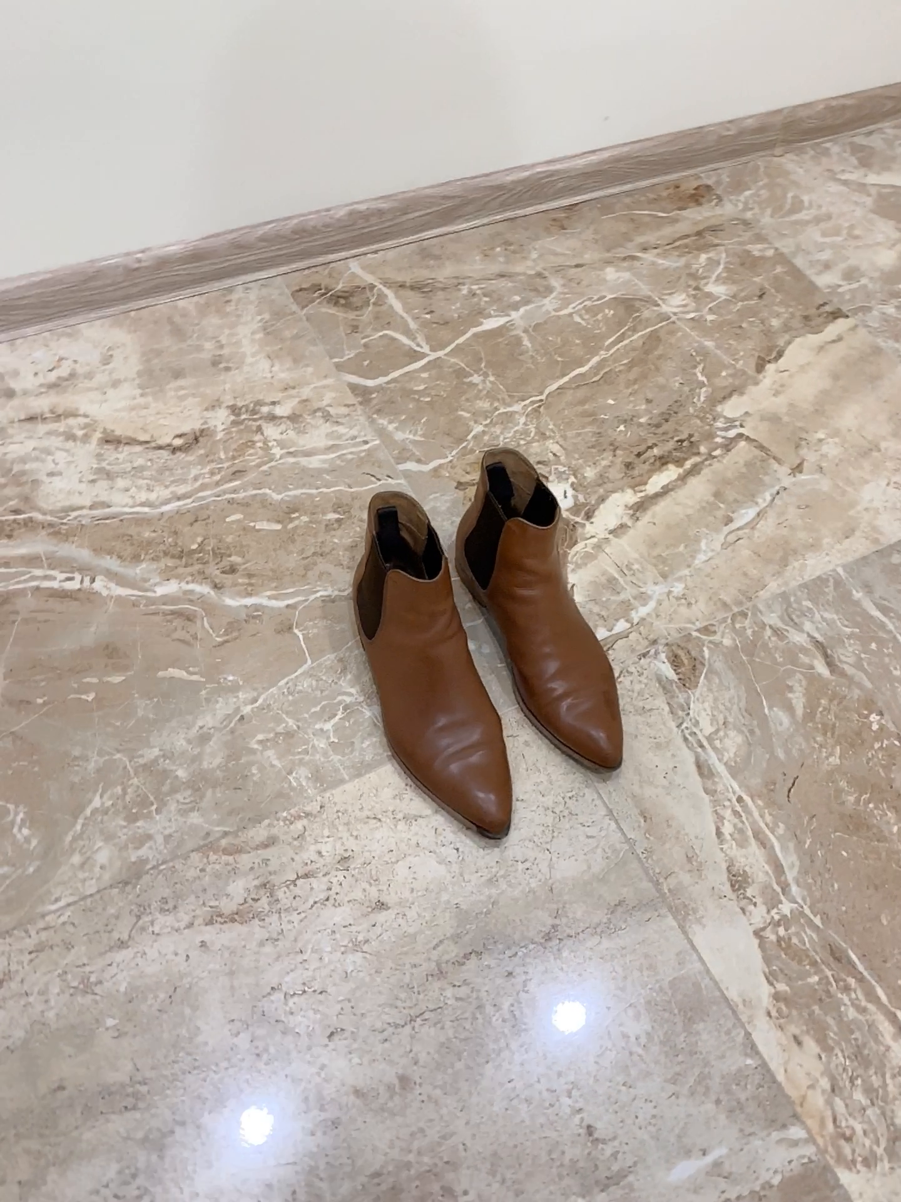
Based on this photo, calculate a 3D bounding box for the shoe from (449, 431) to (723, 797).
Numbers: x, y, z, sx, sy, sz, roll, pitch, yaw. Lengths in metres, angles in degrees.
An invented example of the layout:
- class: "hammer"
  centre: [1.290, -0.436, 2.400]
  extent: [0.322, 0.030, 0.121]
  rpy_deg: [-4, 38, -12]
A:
- class: "shoe"
  centre: [0.092, 0.005, 0.727]
  extent: [0.090, 0.120, 0.251]
  rpy_deg: [-16, 59, -16]

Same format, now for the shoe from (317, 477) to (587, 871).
- class: "shoe"
  centre: [-0.012, 0.051, 0.692]
  extent: [0.090, 0.129, 0.251]
  rpy_deg: [-19, 60, -18]
